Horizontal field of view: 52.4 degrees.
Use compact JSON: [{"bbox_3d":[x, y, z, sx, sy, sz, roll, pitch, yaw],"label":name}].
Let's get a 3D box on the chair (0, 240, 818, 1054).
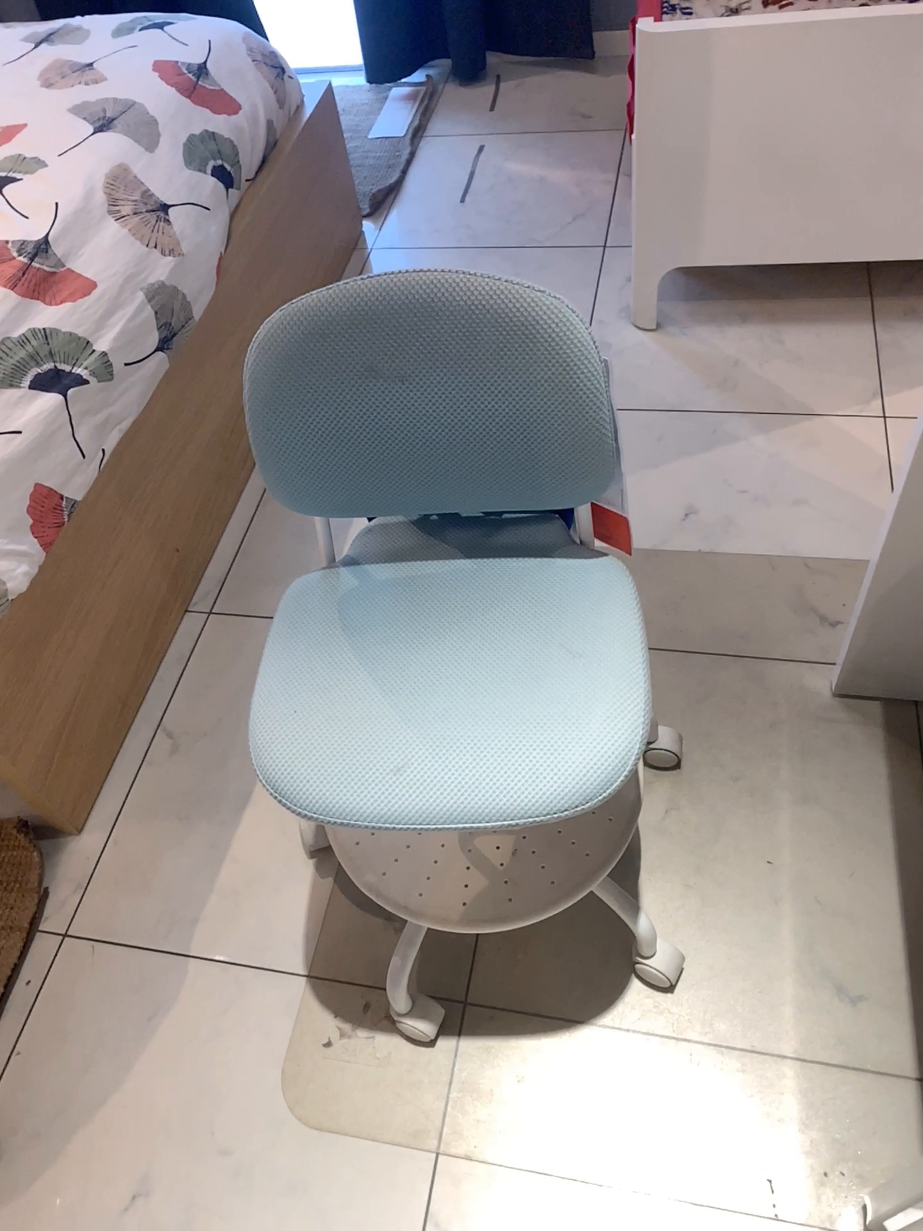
[{"bbox_3d":[-0.009,0.084,1.108,0.600,0.718,0.622,-2,51,7],"label":"chair"}]
